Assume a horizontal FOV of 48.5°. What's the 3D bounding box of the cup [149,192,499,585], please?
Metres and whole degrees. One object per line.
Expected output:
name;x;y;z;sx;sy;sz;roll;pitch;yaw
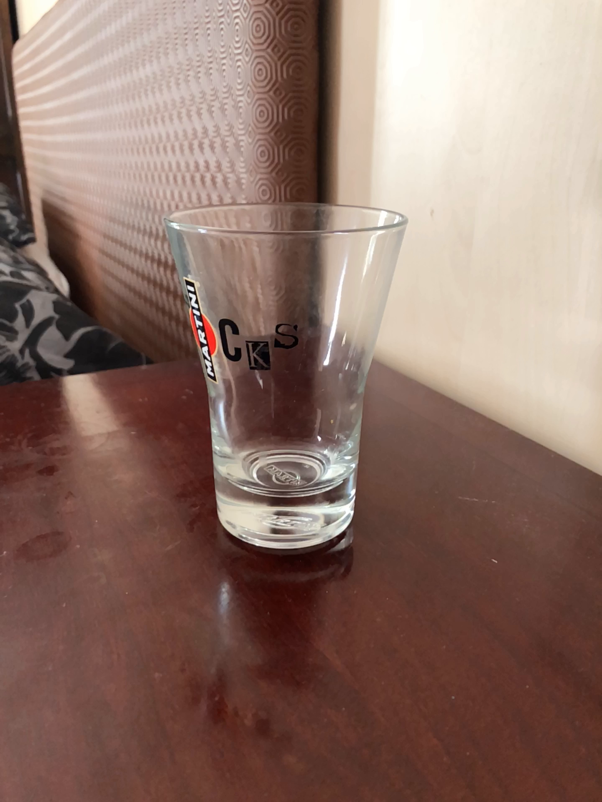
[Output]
cup;0.002;-0.016;0.262;0.094;0.118;0.094;0;21;0
